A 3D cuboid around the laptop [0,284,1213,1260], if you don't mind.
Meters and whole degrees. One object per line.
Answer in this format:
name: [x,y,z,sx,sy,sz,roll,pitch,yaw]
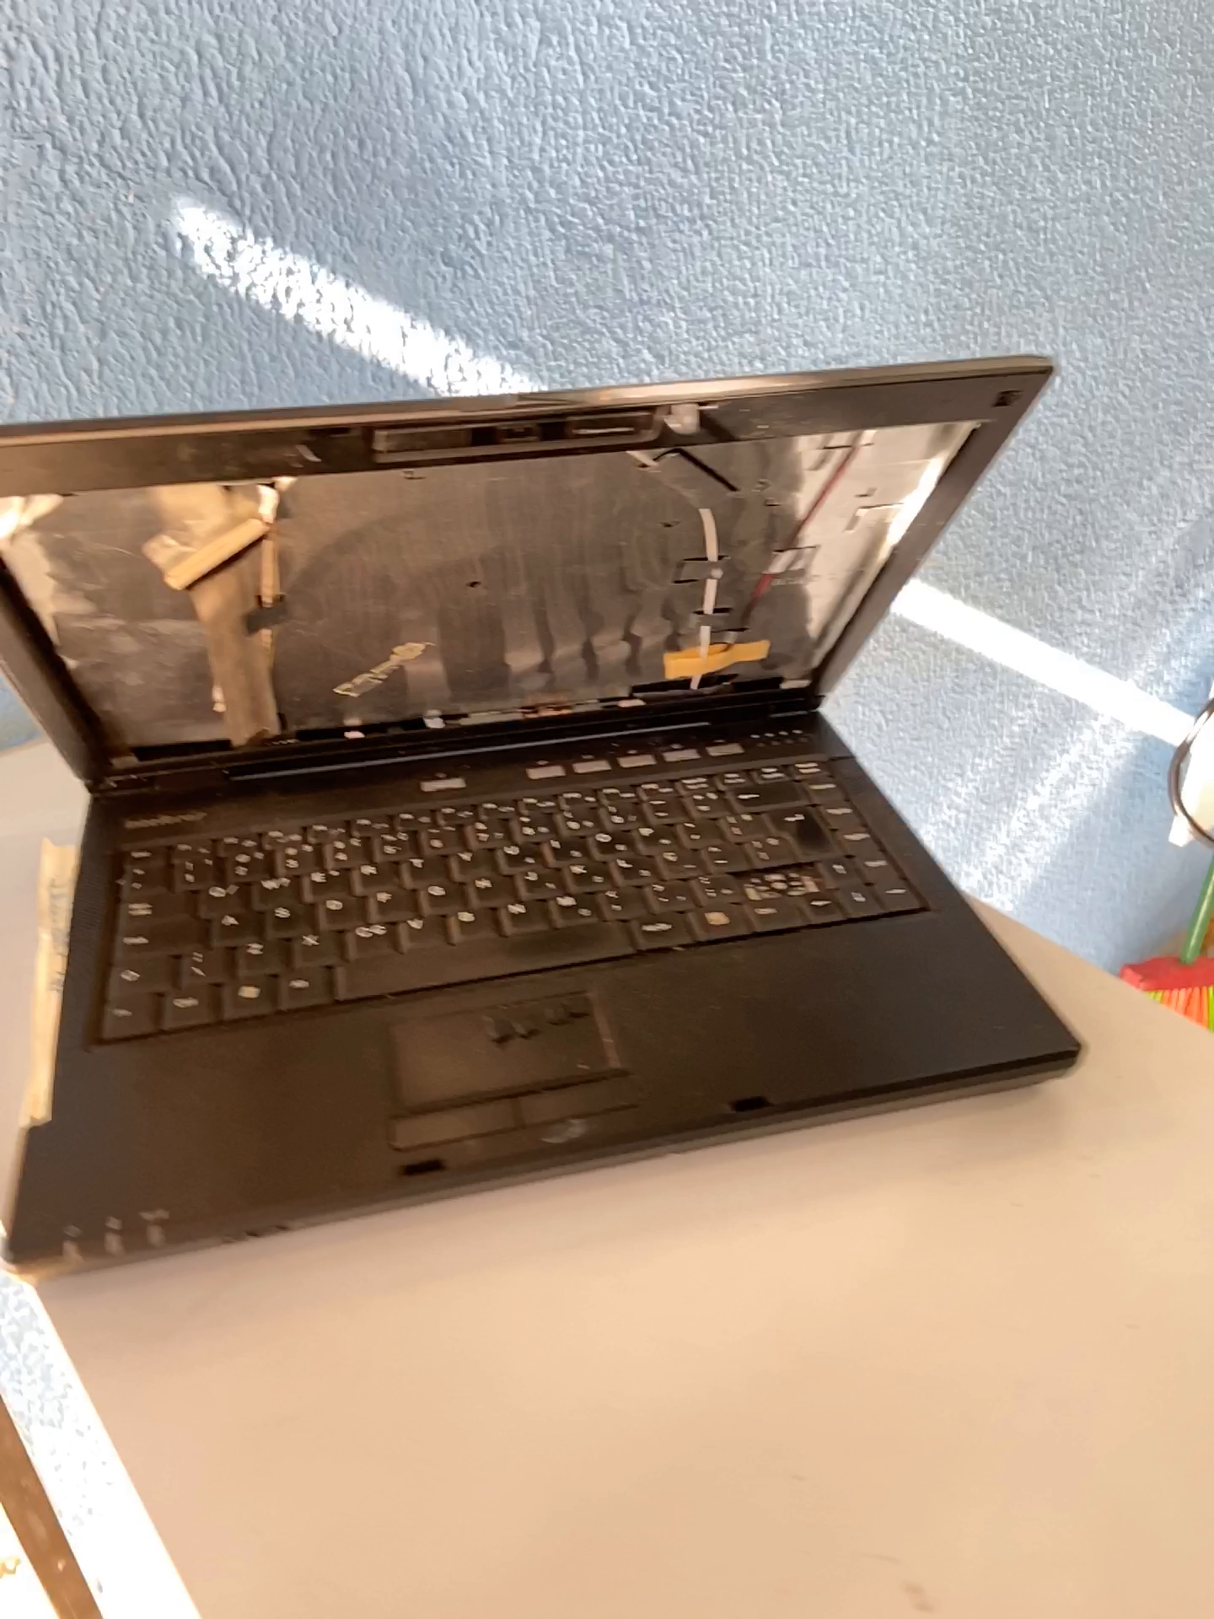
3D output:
laptop: [-0.030,-0.043,0.413,0.322,0.191,0.232,-7,34,-12]
